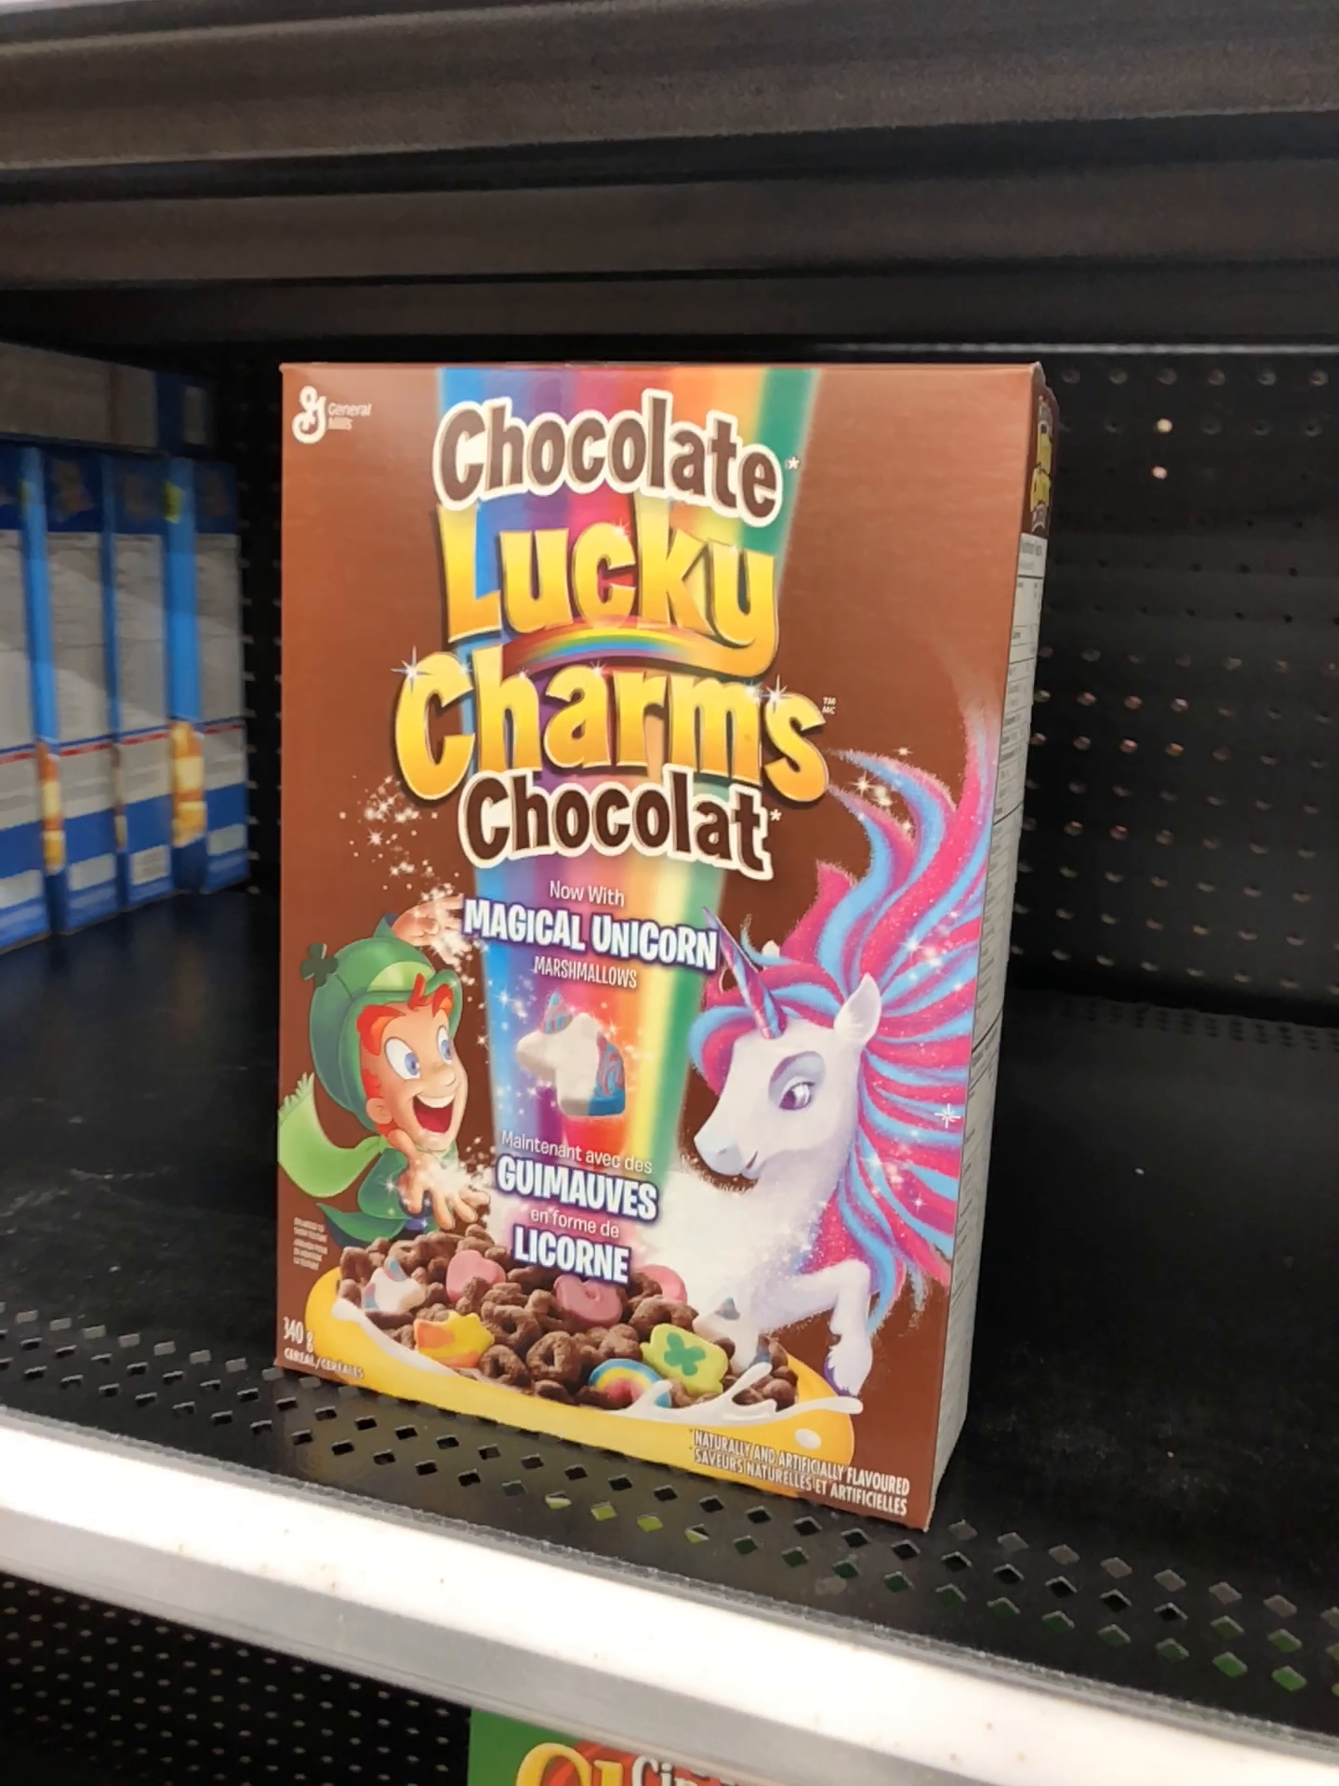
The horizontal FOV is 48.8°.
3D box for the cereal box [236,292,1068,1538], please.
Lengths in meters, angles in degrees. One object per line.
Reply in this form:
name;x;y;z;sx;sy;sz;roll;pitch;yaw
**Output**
cereal box;-0.013;0.001;0.391;0.200;0.289;0.050;7;12;19
